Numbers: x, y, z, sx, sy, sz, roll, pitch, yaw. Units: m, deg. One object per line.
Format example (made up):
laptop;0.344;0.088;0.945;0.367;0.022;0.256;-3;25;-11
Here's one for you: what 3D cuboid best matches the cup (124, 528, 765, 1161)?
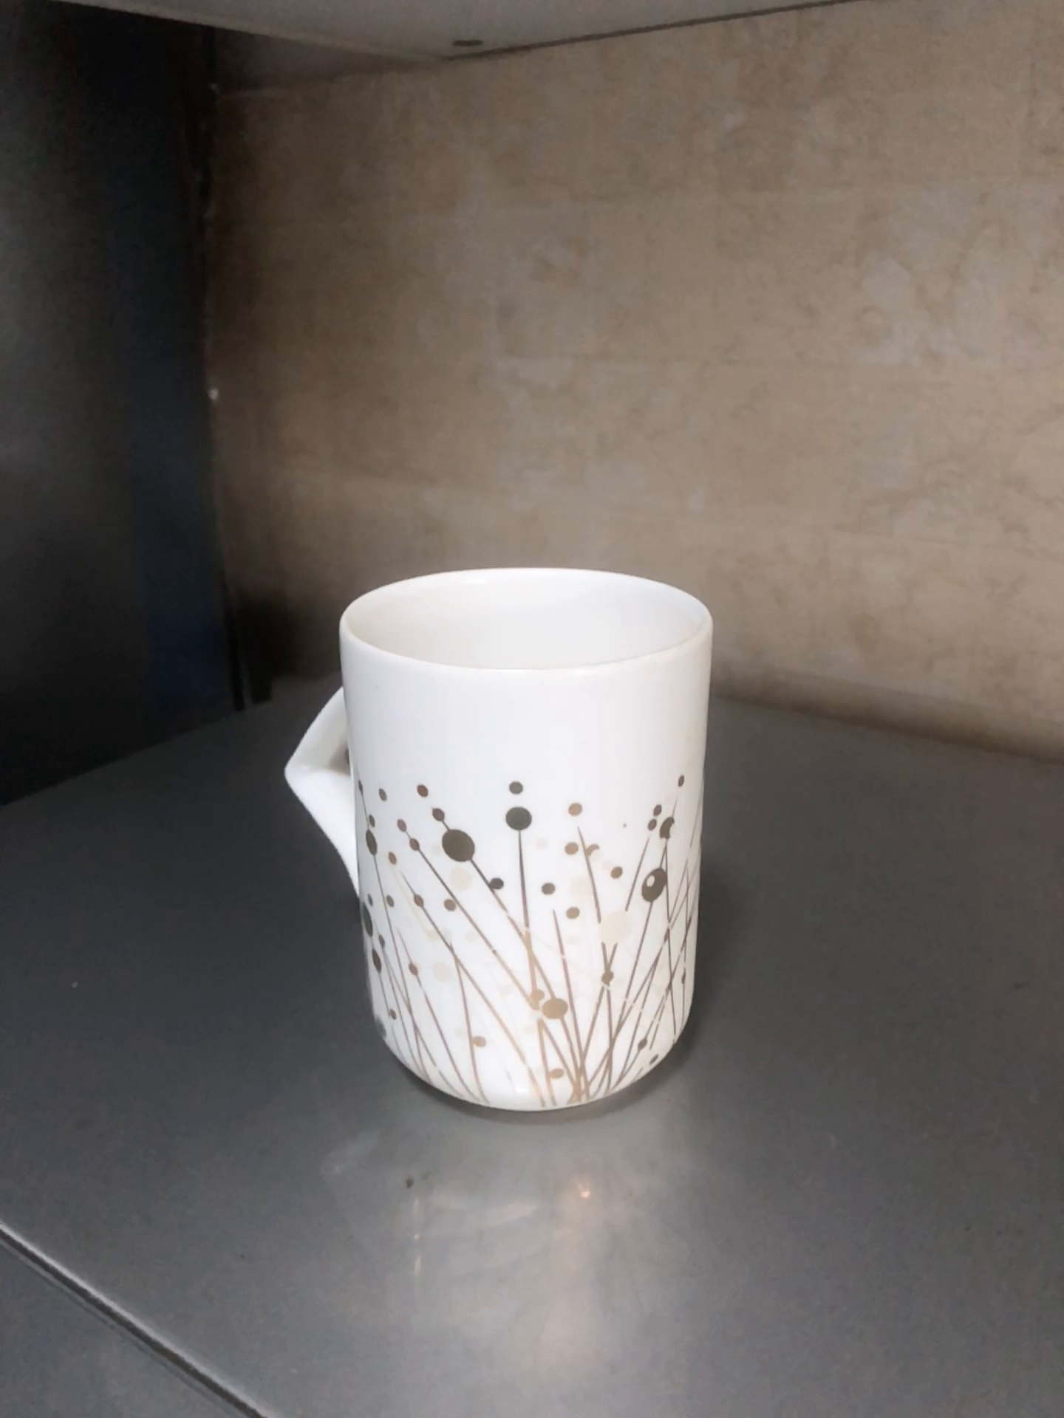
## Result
cup;-0.013;0.020;0.265;0.110;0.099;0.080;7;21;21
